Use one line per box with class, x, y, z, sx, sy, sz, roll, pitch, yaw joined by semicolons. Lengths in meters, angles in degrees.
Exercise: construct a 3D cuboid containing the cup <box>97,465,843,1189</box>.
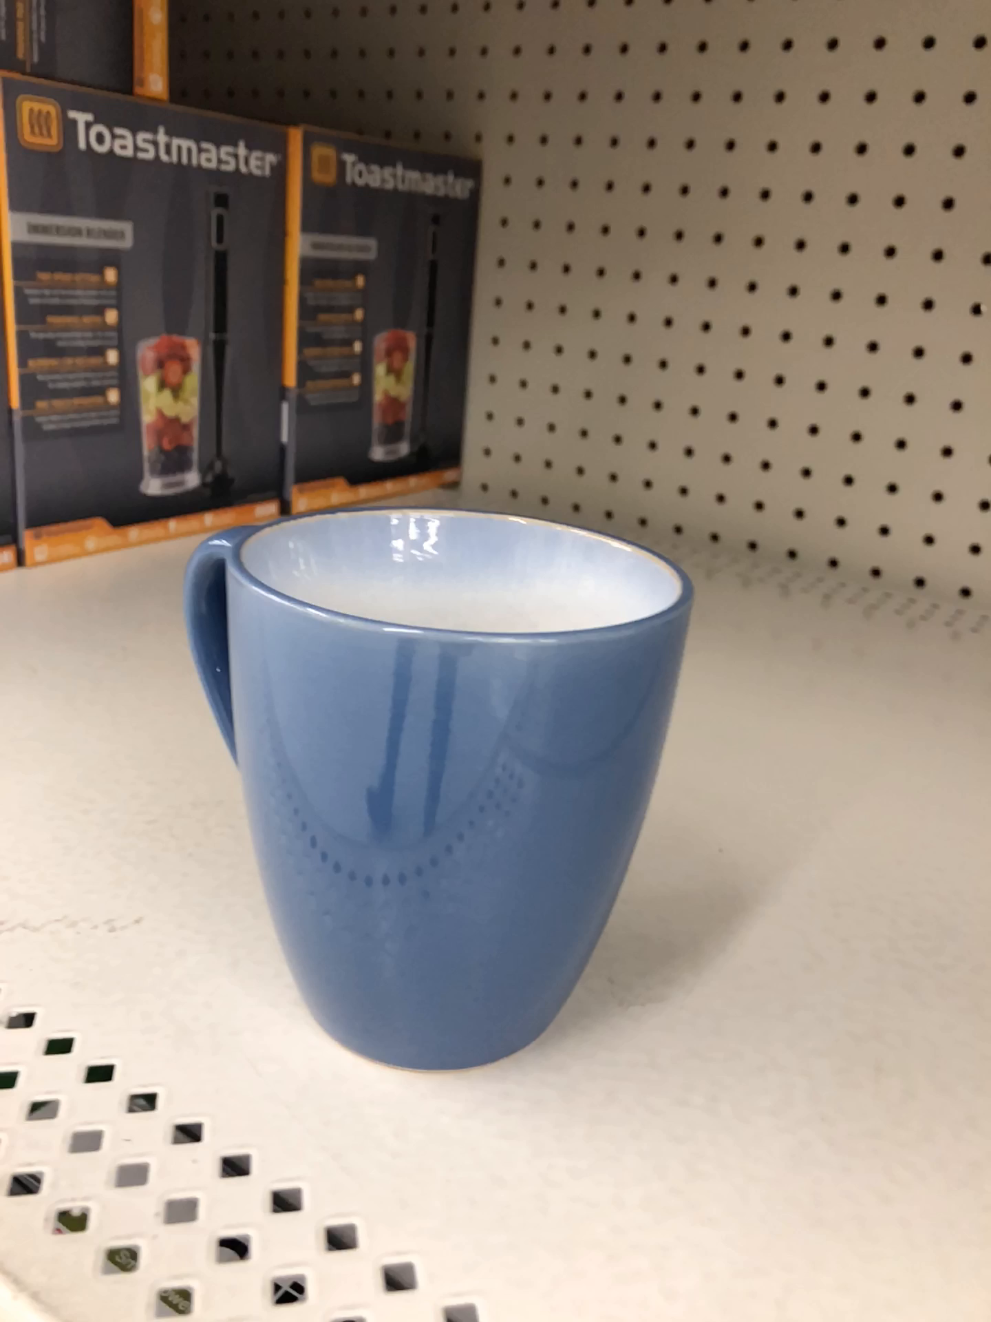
cup;-0.008;0.020;0.253;0.128;0.098;0.097;18;24;32
